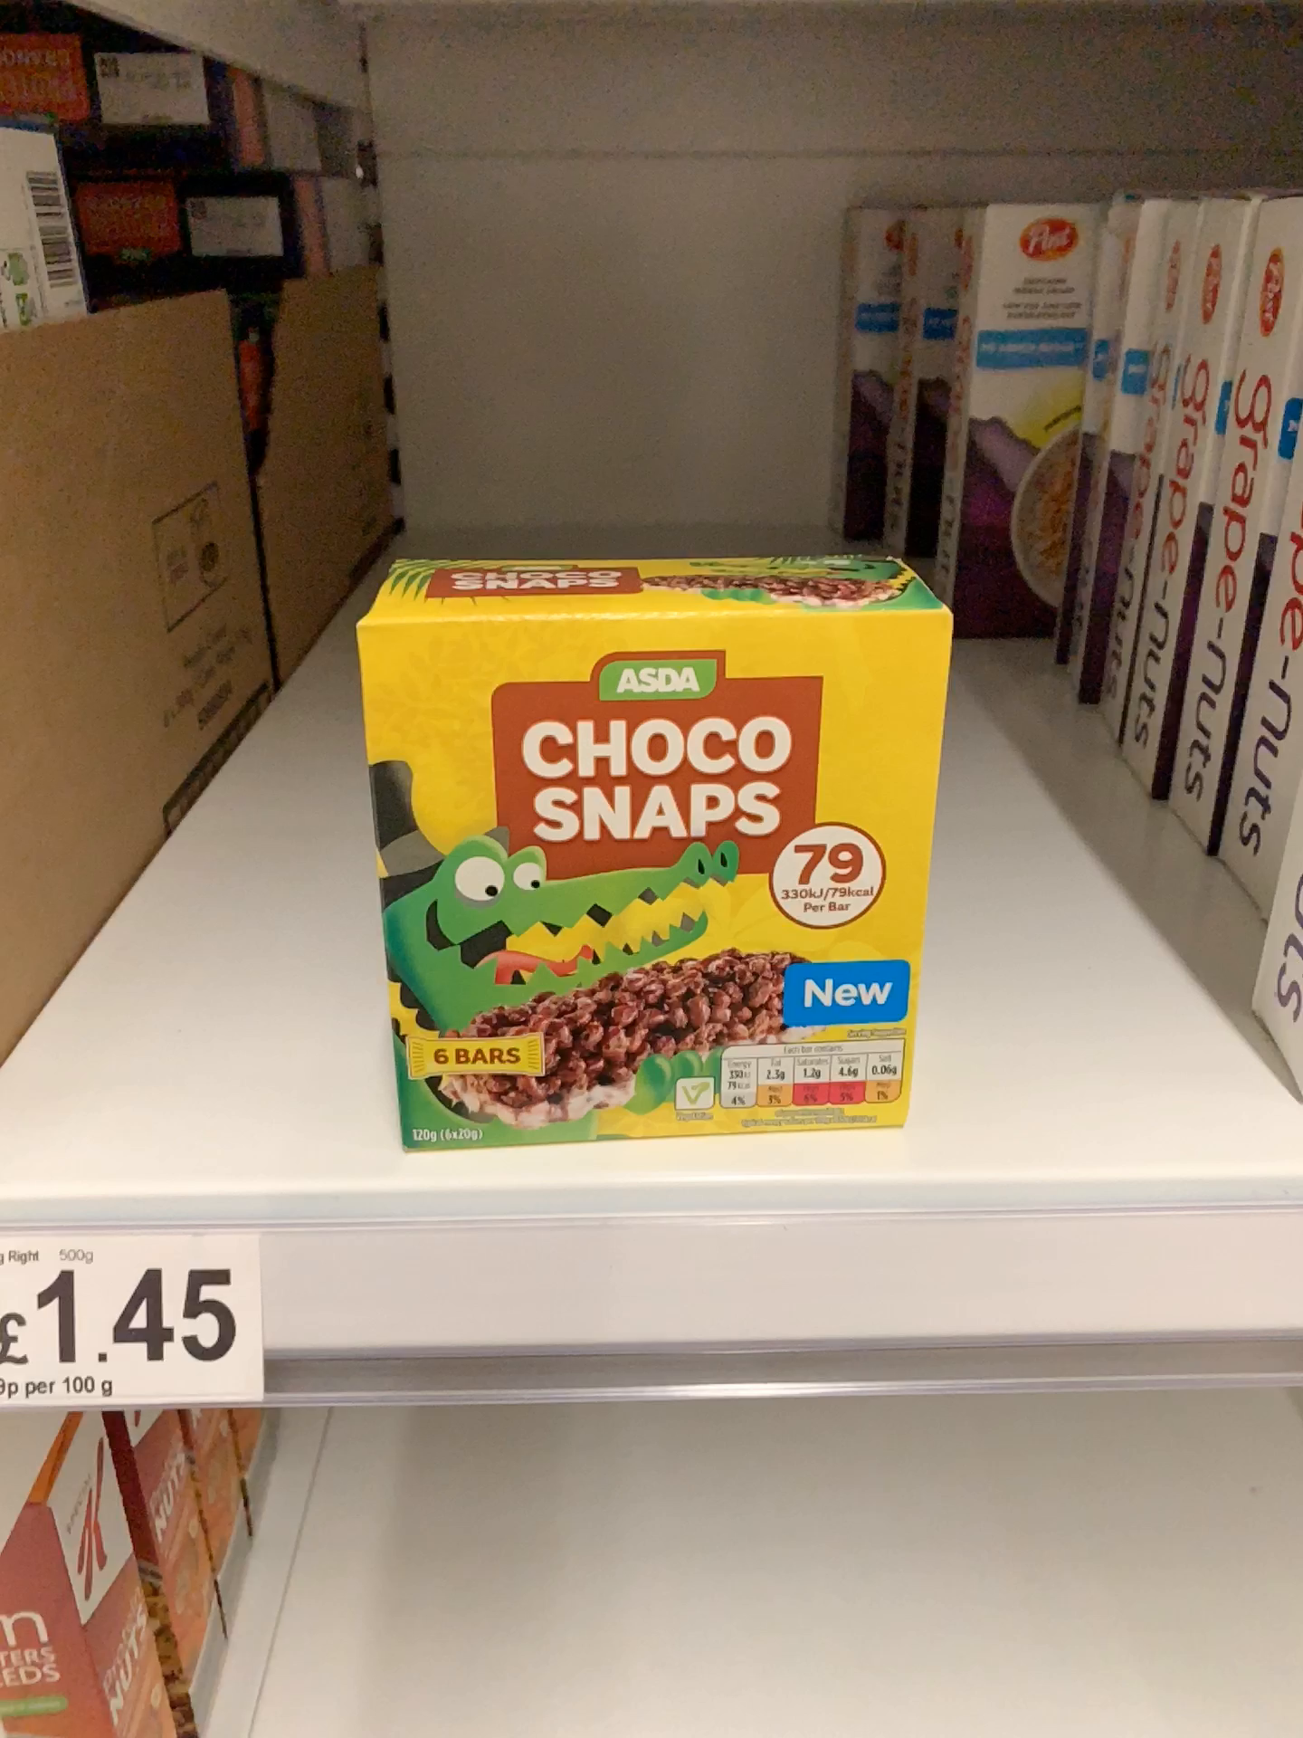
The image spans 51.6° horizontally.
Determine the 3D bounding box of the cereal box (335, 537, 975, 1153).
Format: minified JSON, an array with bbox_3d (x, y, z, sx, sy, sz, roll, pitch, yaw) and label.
[{"bbox_3d":[-0.001,-0.008,0.332,0.130,0.129,0.071,-2,25,-4],"label":"cereal box"}]
